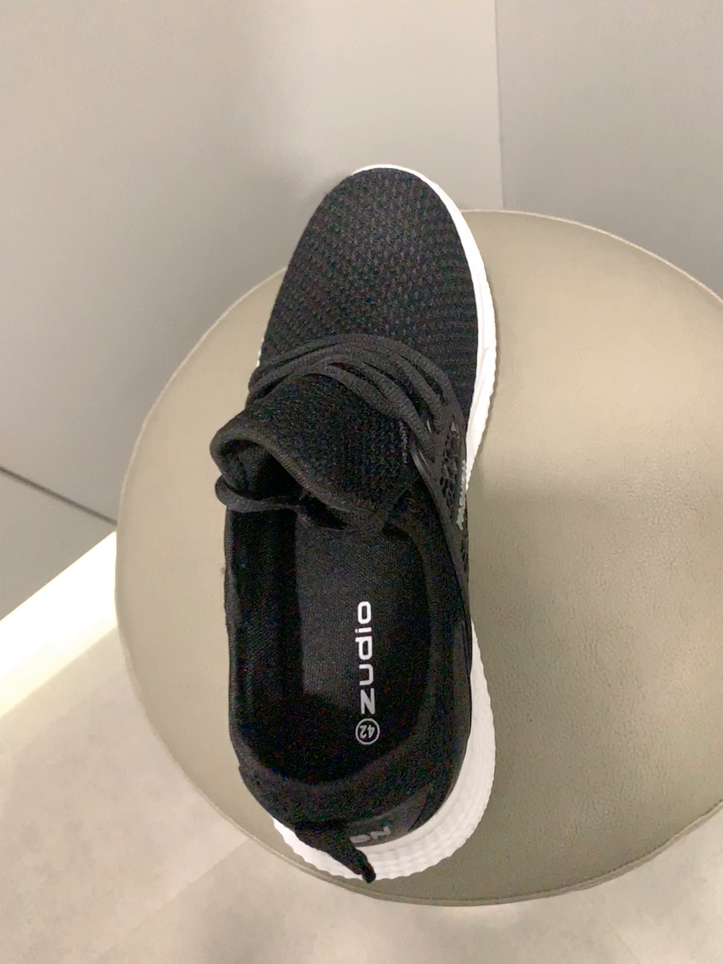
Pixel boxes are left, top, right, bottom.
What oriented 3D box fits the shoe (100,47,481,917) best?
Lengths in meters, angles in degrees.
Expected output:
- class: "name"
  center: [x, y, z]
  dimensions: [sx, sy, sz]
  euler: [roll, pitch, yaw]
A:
- class: "shoe"
  center: [-0.008, -0.008, 0.302]
  dimensions: [0.100, 0.110, 0.290]
  euler: [0, 73, 13]
